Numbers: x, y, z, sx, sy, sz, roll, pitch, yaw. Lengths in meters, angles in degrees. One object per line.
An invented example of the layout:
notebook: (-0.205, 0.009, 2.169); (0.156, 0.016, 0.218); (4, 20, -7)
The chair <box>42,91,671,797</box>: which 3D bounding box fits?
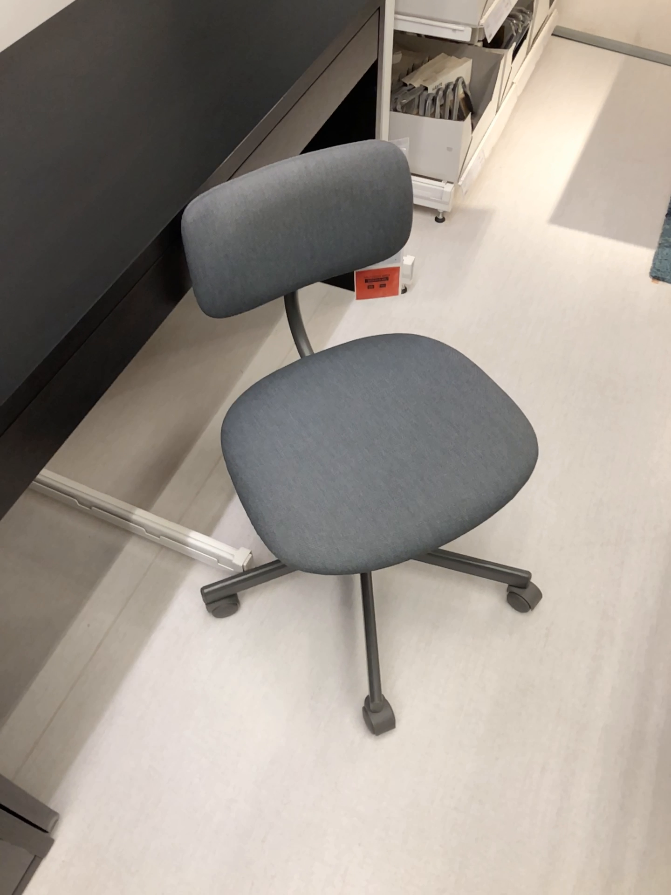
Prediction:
chair: (0.053, 0.002, 1.109); (0.621, 0.676, 0.593); (-24, 55, -17)
